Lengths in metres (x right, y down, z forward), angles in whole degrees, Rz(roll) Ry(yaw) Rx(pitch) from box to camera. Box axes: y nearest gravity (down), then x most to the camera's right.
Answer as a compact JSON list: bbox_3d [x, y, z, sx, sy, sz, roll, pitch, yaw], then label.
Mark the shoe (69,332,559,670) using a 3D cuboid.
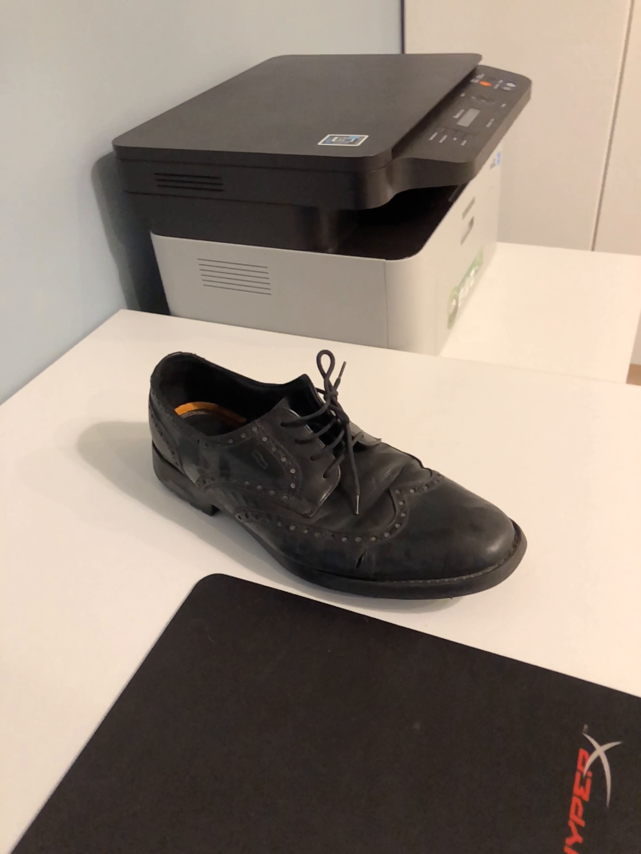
[{"bbox_3d":[-0.014,0.031,0.491,0.313,0.079,0.120,19,44,28],"label":"shoe"}]
